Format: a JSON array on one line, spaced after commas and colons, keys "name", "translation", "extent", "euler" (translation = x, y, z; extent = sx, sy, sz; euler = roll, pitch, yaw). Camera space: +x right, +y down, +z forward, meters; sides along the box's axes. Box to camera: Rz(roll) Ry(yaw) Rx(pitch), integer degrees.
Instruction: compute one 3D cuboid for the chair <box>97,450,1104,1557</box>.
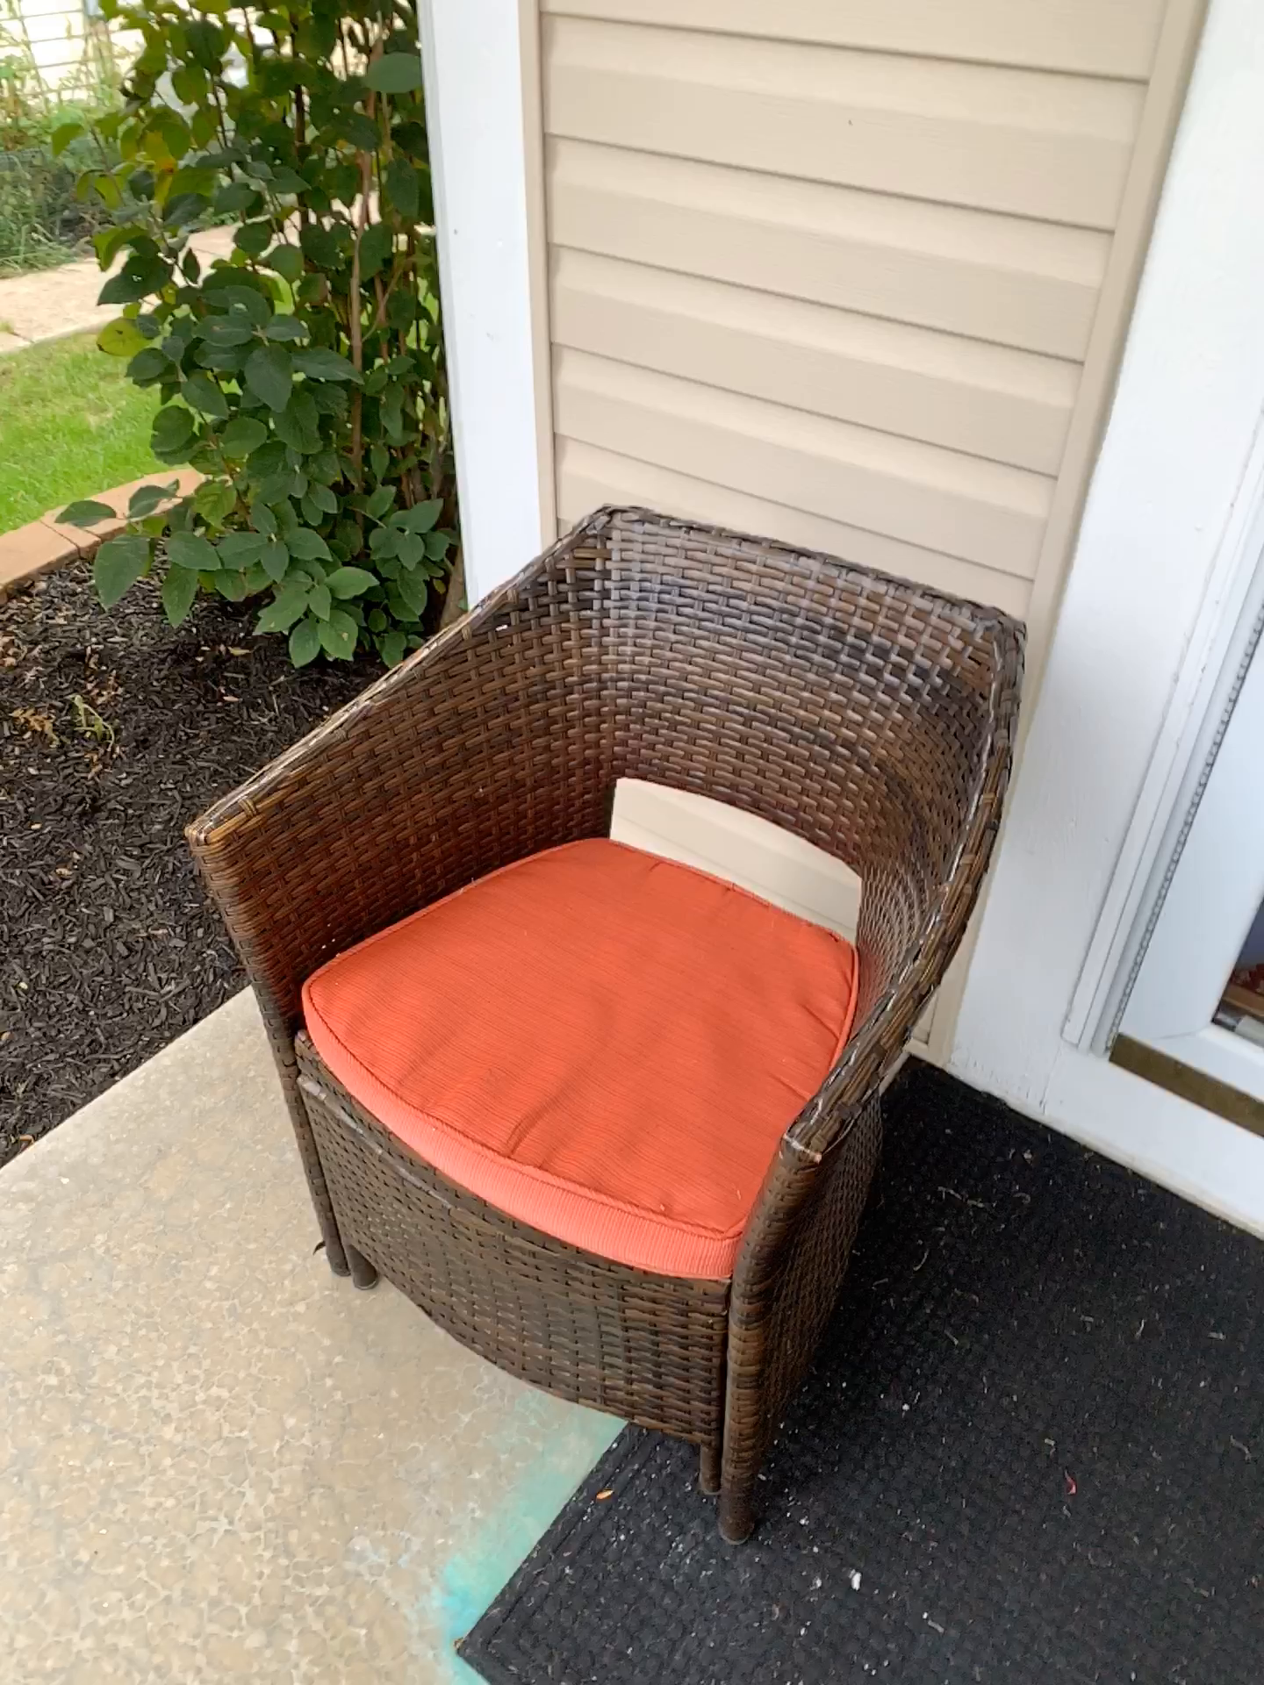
[{"name": "chair", "translation": [-0.002, 0.126, 1.349], "extent": [0.642, 0.757, 0.609], "euler": [22, 43, 24]}]
